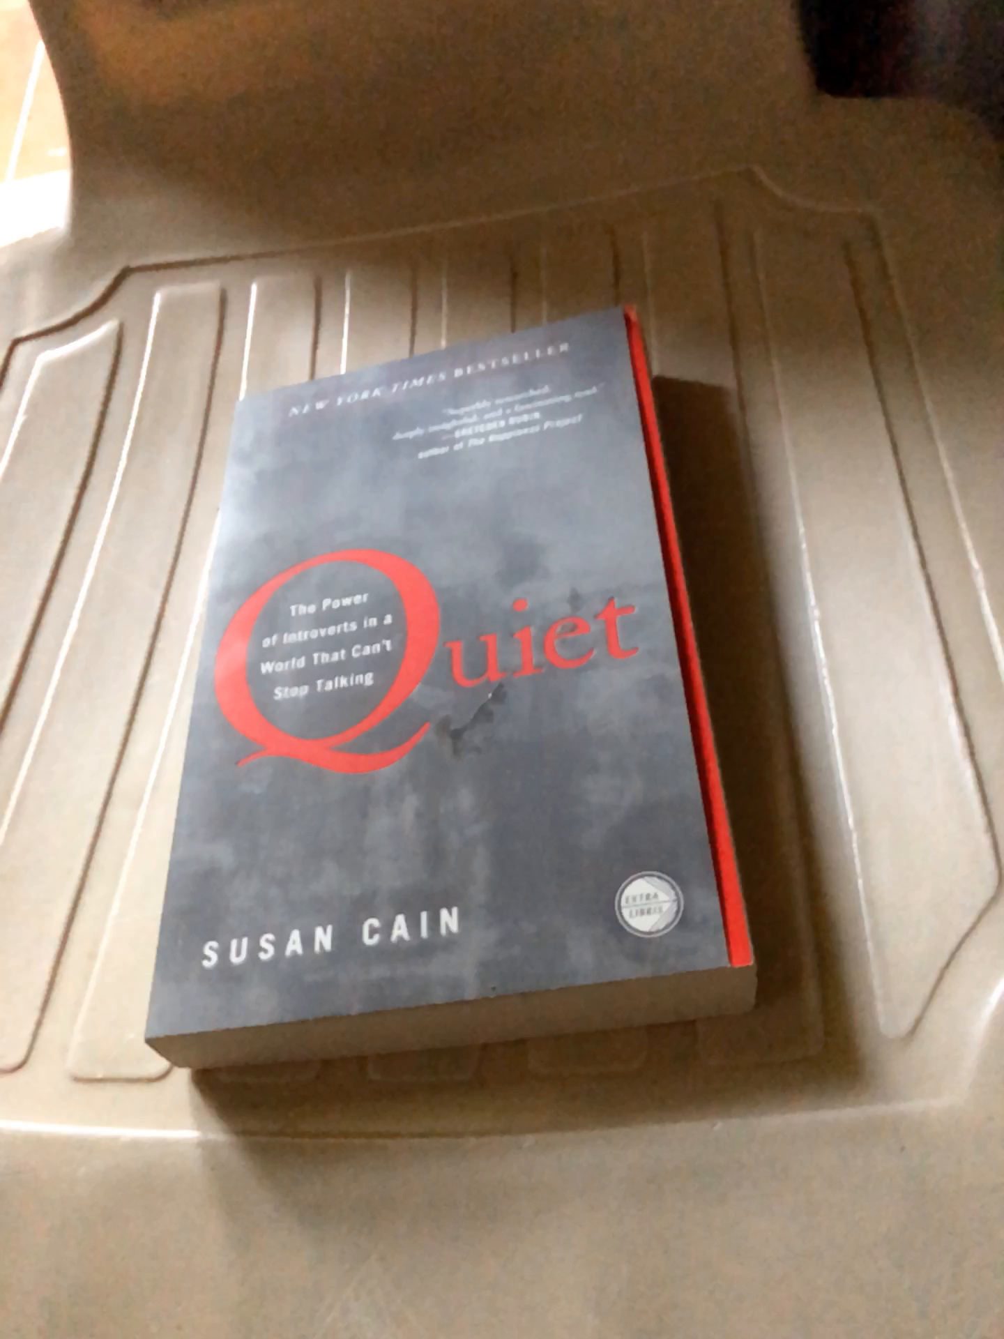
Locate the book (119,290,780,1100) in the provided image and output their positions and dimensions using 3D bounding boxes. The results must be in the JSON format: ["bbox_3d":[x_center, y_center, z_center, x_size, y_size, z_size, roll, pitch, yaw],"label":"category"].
[{"bbox_3d":[-0.015,-0.006,0.283,0.130,0.030,0.200,-9,56,9],"label":"book"}]
